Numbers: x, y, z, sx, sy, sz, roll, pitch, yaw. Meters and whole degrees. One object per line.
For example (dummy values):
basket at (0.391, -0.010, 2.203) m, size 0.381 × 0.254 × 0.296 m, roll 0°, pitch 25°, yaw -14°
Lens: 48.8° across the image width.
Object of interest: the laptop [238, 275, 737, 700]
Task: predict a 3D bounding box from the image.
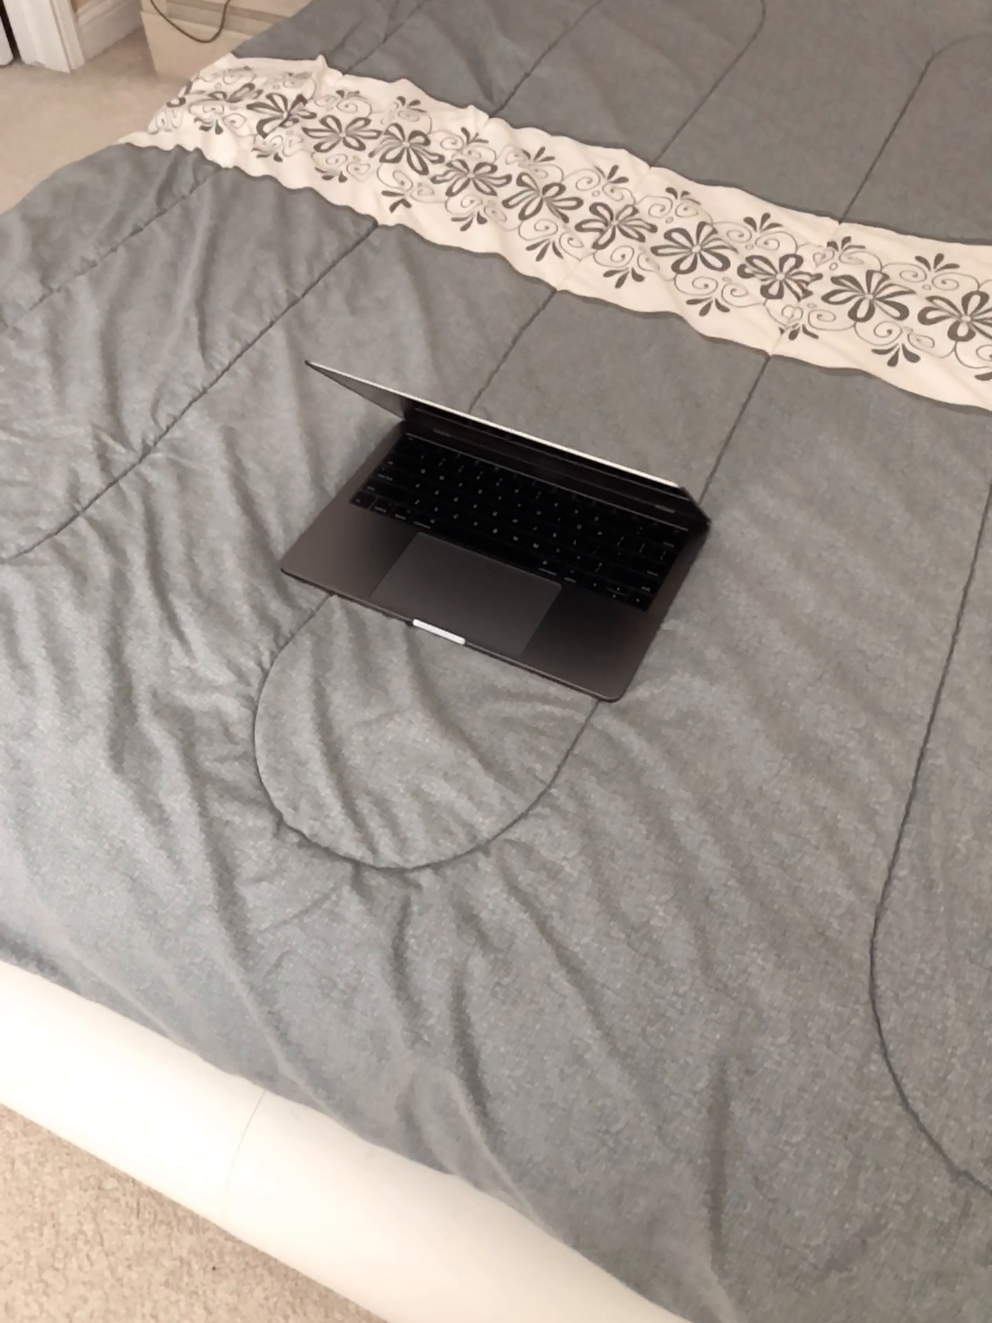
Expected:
laptop at (-0.001, -0.133, 0.788) m, size 0.278 × 0.140 × 0.195 m, roll 21°, pitch 54°, yaw 17°
